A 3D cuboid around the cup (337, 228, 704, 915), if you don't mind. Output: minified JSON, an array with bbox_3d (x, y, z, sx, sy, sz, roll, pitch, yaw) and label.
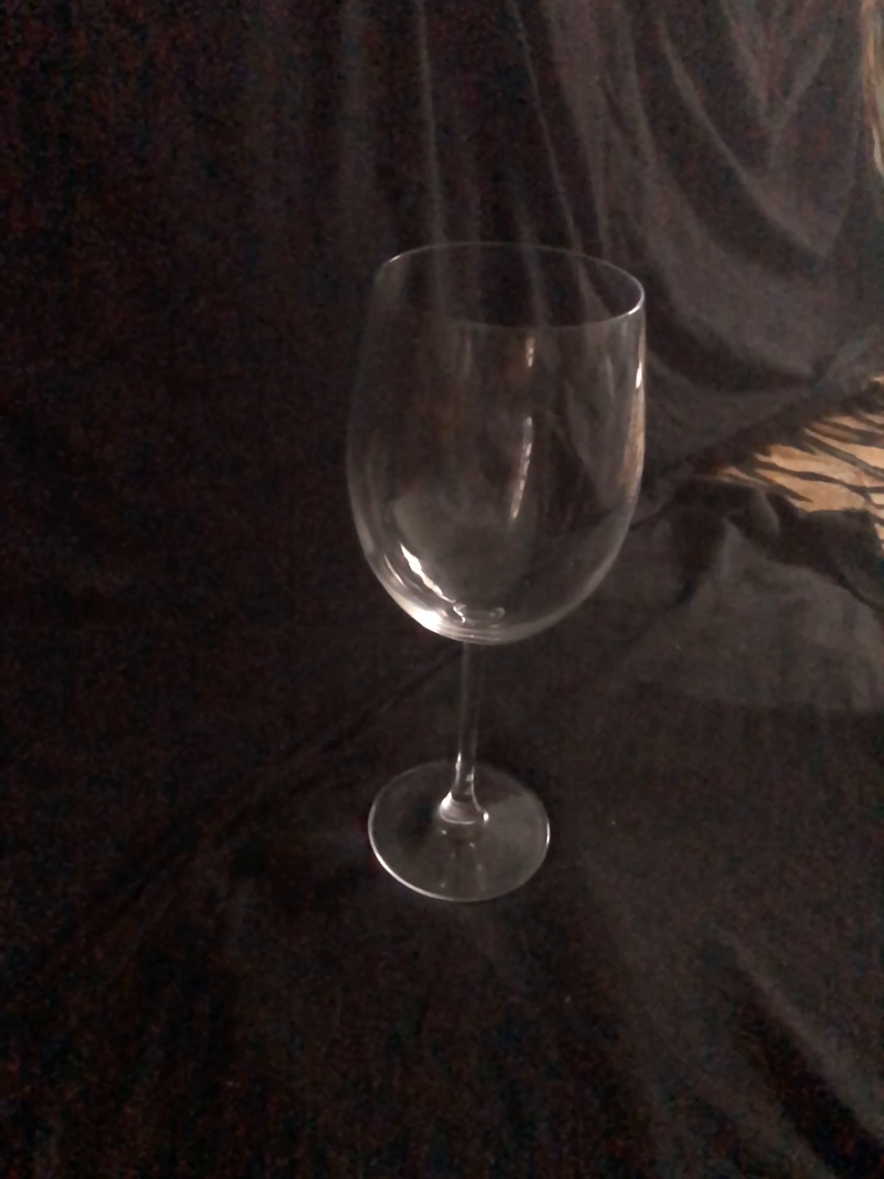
[{"bbox_3d":[0.013,0.008,0.393,0.103,0.266,0.101,3,37,-2],"label":"cup"}]
